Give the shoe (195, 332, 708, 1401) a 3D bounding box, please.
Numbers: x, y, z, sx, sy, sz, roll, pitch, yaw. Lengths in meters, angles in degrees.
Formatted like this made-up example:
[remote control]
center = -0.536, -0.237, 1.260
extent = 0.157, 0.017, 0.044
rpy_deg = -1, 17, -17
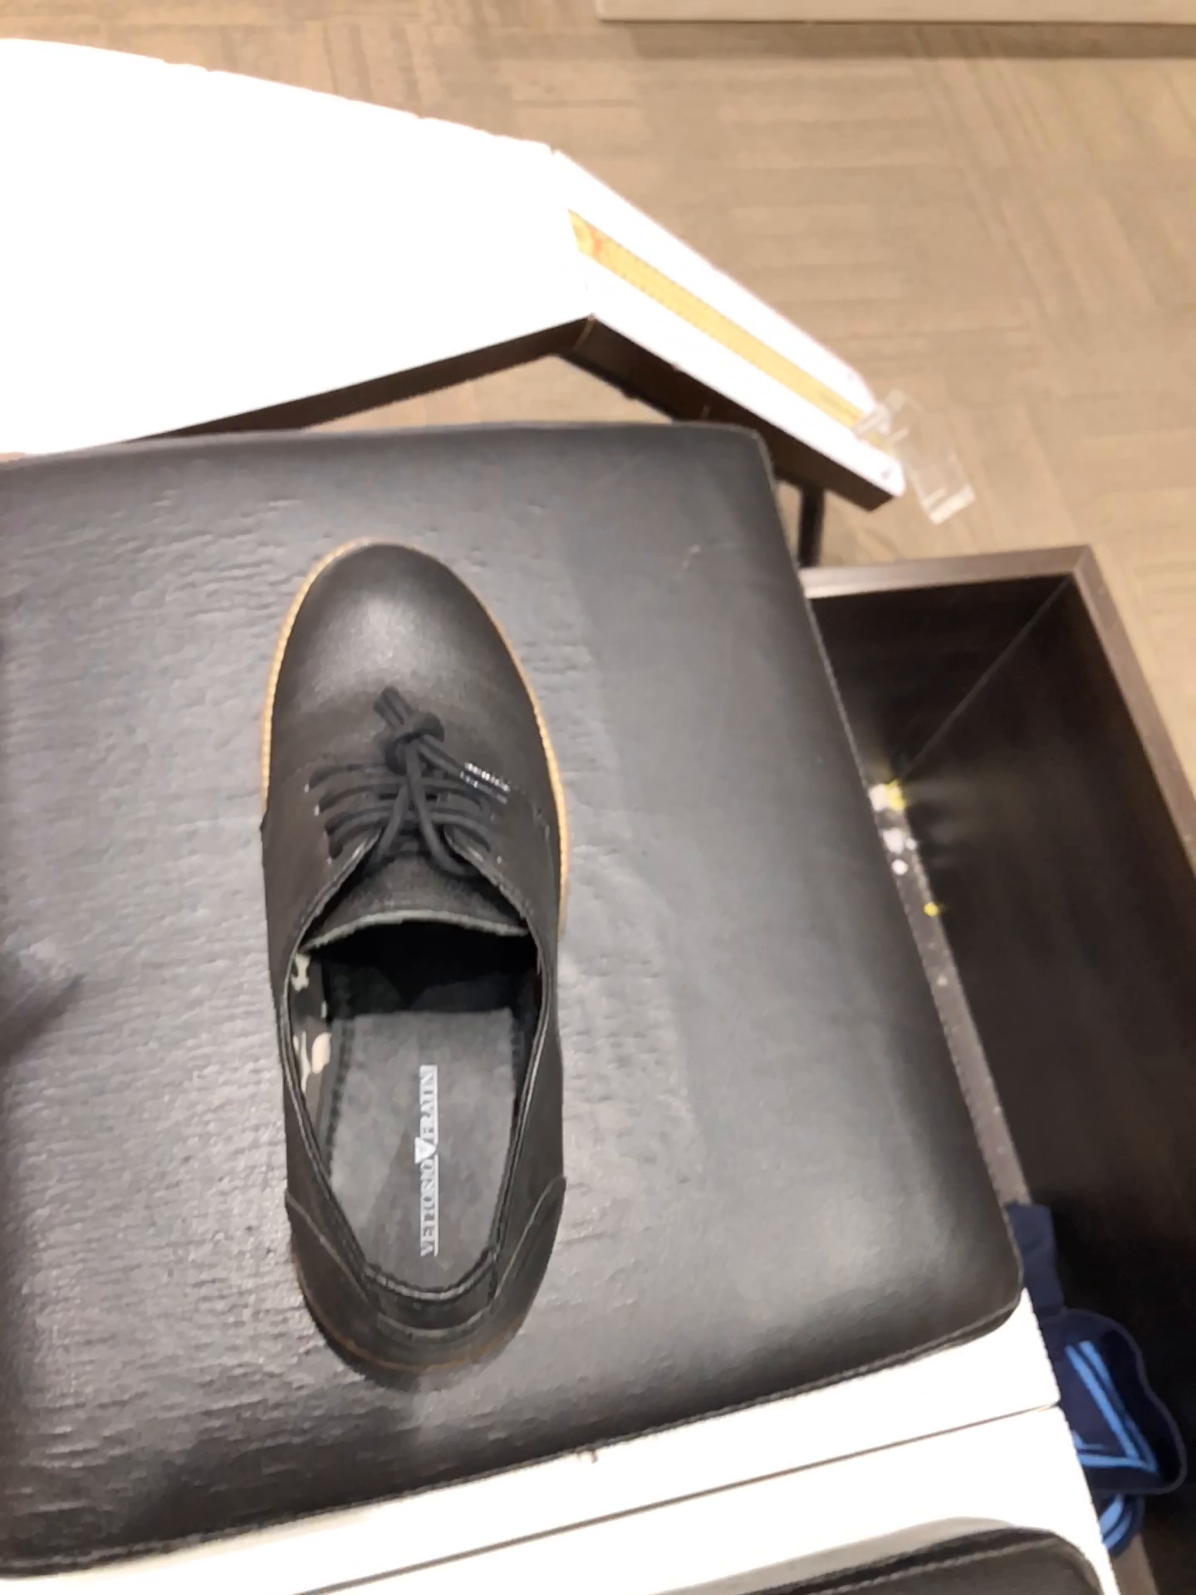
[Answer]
[shoe]
center = -0.055, 0.011, 0.392
extent = 0.110, 0.100, 0.291
rpy_deg = -3, 65, -11
